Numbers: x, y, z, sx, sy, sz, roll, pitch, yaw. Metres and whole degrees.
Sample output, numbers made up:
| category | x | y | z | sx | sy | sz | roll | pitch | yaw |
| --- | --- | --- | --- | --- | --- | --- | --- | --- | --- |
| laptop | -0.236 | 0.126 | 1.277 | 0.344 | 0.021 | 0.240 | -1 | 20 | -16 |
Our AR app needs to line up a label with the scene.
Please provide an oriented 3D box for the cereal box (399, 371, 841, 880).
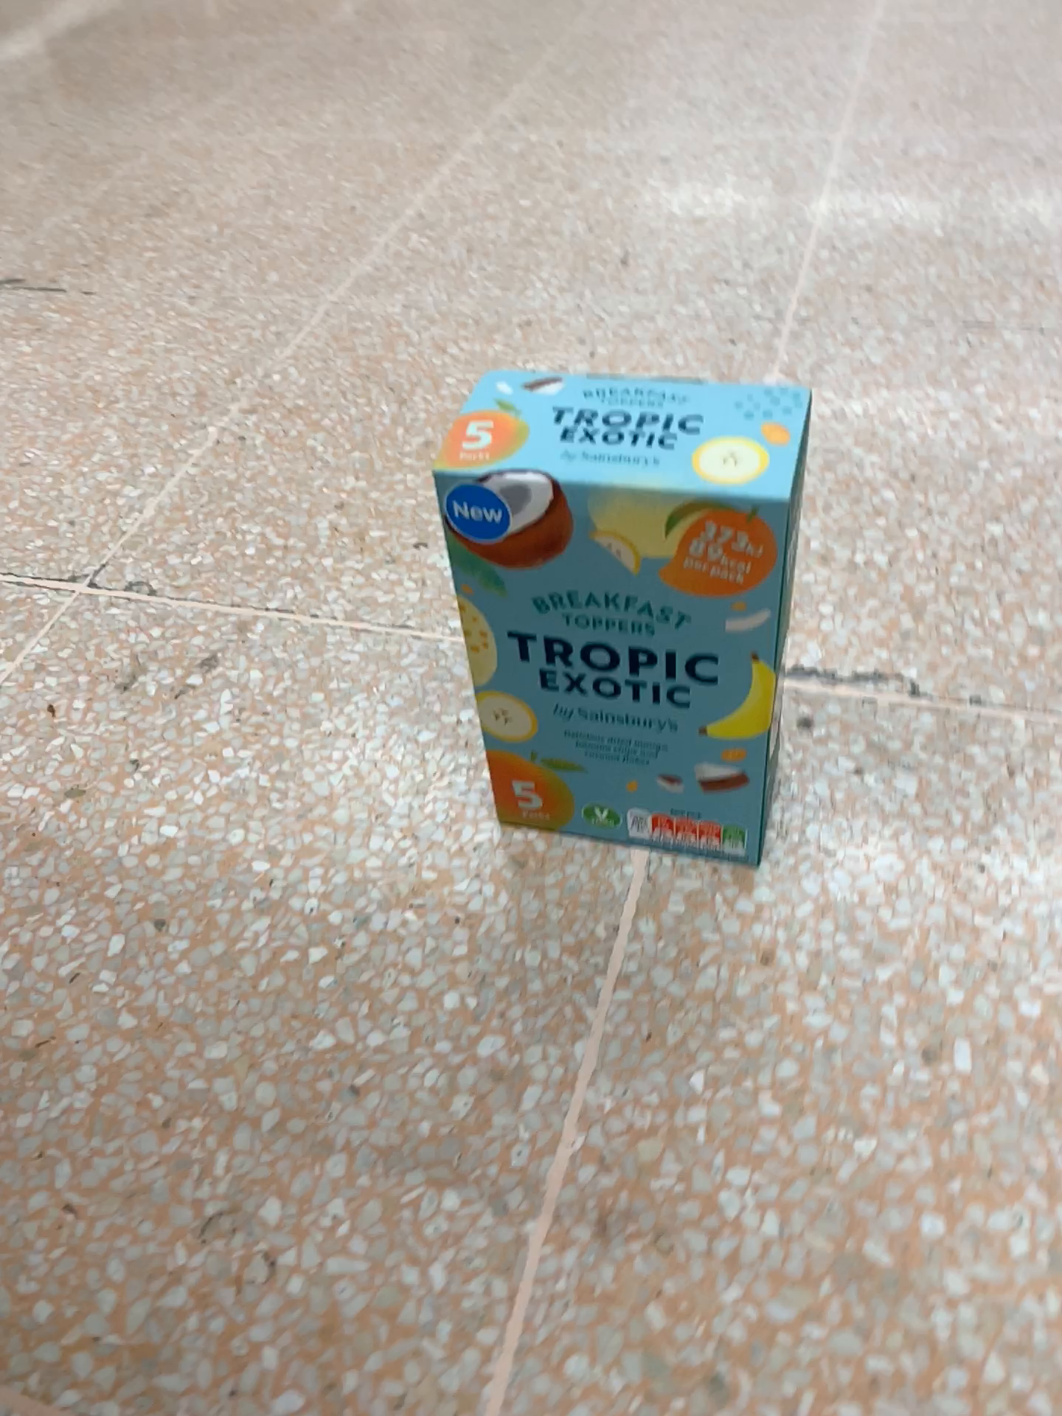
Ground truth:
| category | x | y | z | sx | sy | sz | roll | pitch | yaw |
| --- | --- | --- | --- | --- | --- | --- | --- | --- | --- |
| cereal box | 0.033 | -0.022 | 0.350 | 0.110 | 0.149 | 0.060 | 8 | 47 | 16 |
